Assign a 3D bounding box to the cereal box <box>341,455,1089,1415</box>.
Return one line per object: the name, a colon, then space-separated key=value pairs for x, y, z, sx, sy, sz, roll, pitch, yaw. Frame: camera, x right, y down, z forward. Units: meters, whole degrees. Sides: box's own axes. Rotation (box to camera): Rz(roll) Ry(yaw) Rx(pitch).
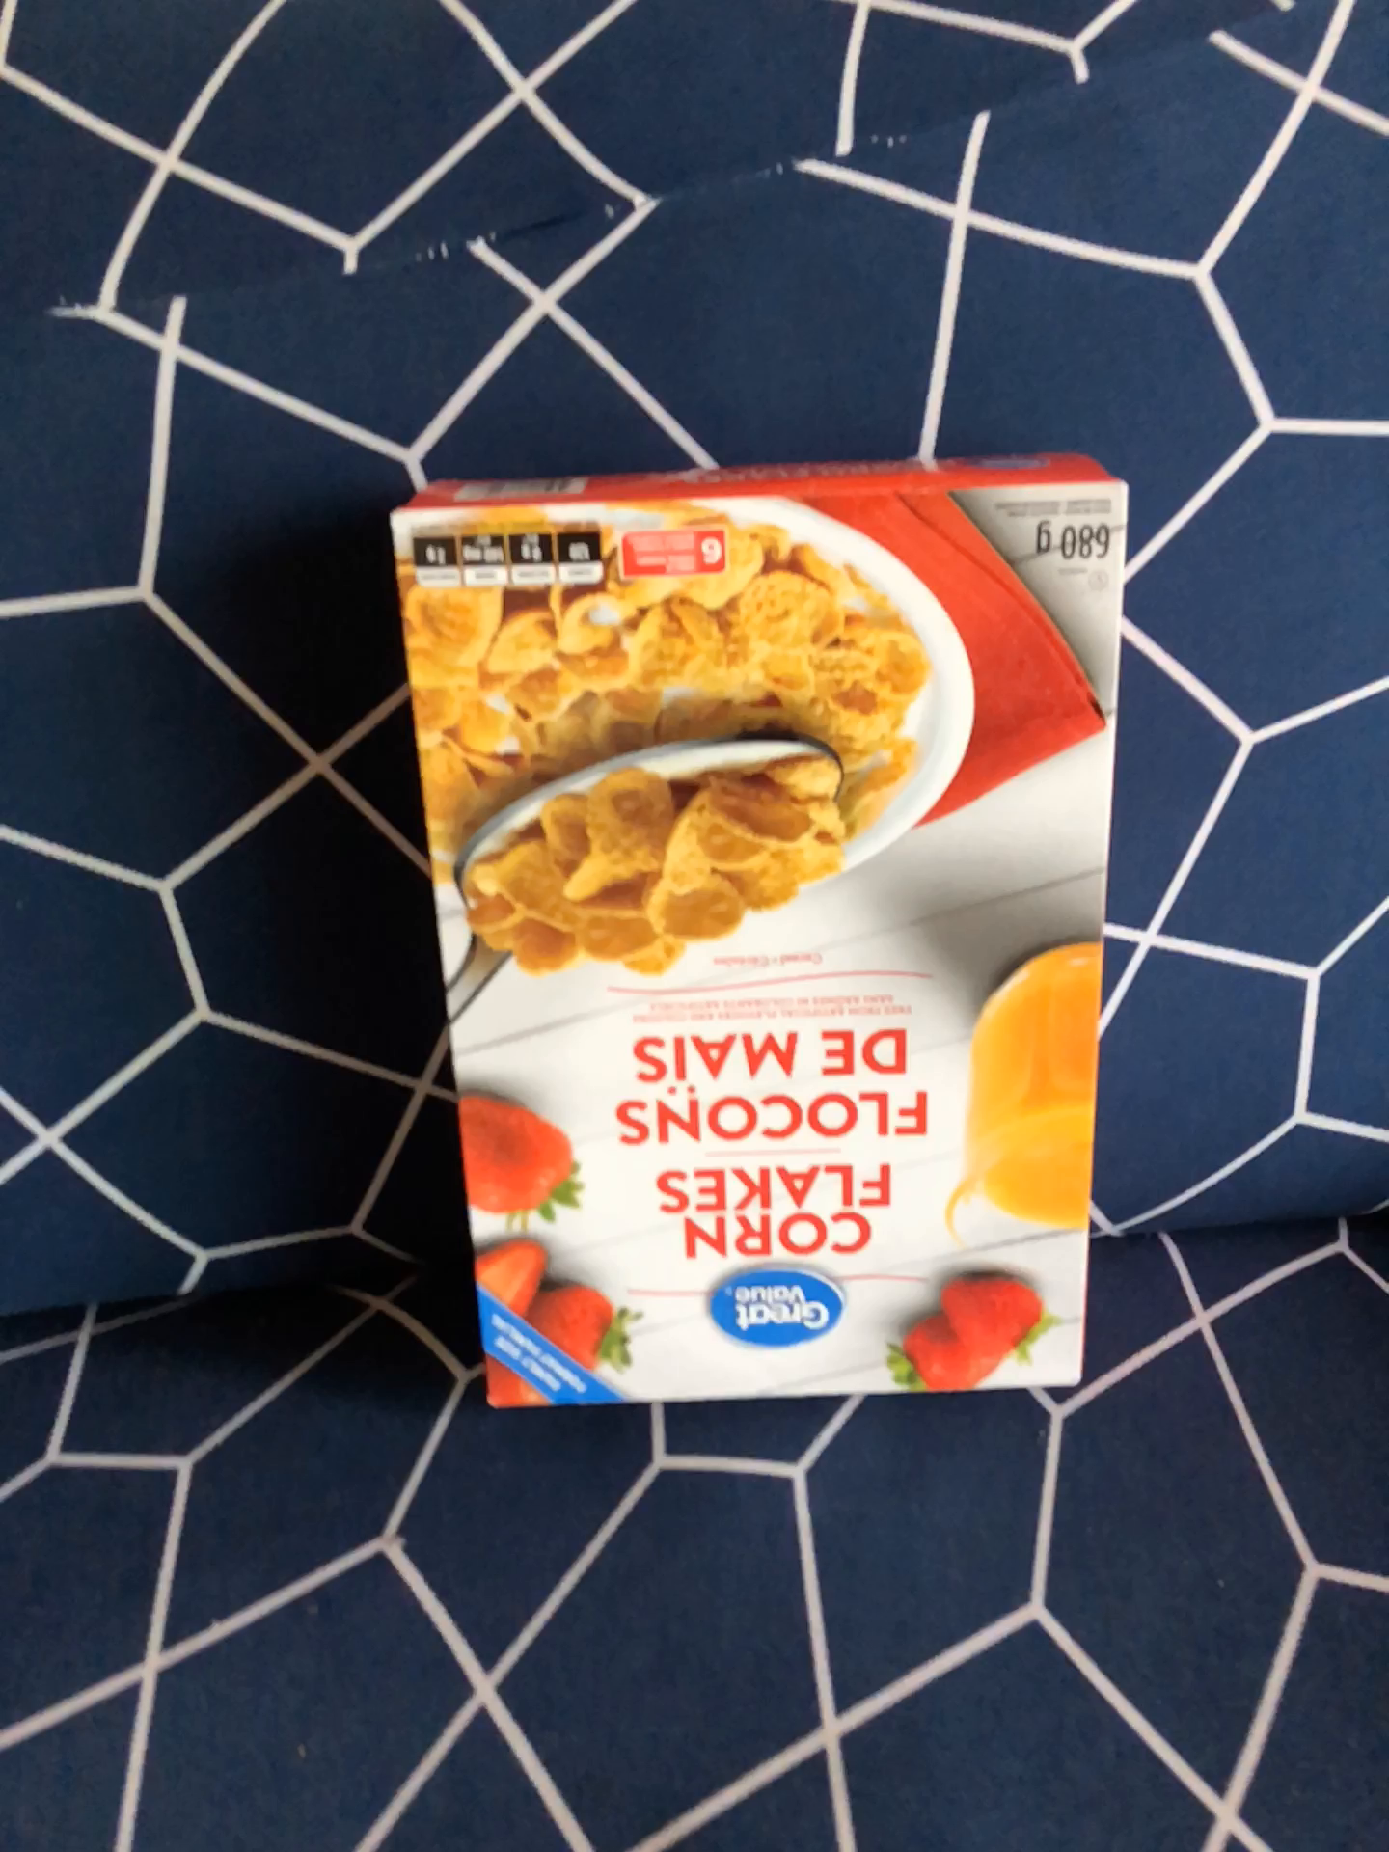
cereal box: x=0.015 y=0.006 z=0.541 sx=0.220 sy=0.319 sz=0.100 roll=-2 pitch=19 yaw=3
